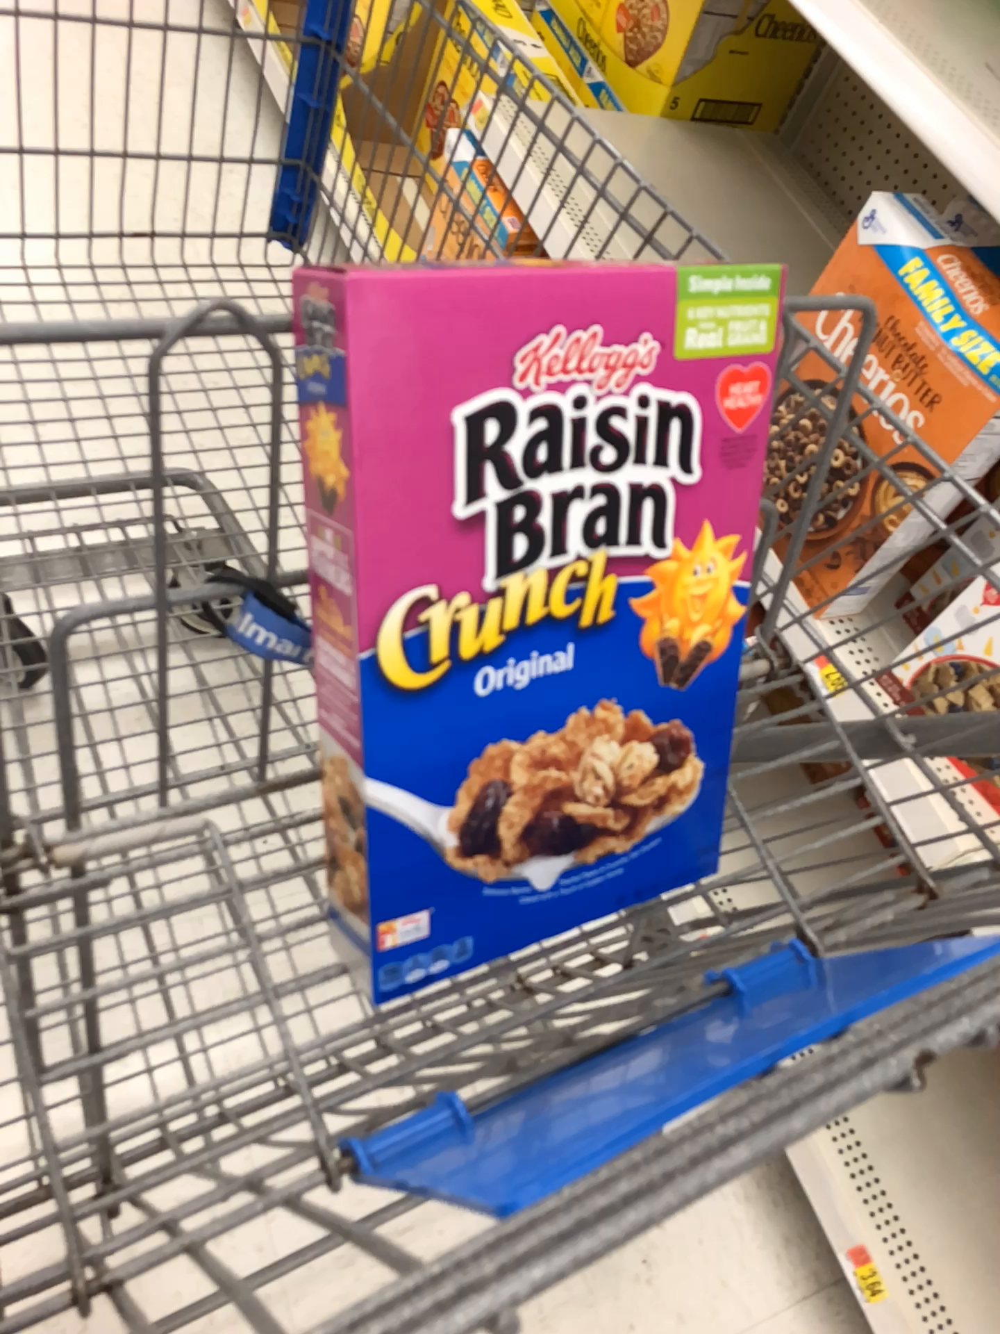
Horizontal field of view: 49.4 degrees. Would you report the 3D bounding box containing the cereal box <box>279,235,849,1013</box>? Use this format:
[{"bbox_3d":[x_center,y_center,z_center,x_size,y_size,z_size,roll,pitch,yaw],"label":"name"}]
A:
[{"bbox_3d":[0.030,-0.026,0.445,0.210,0.280,0.060,-13,26,-30],"label":"cereal box"}]
